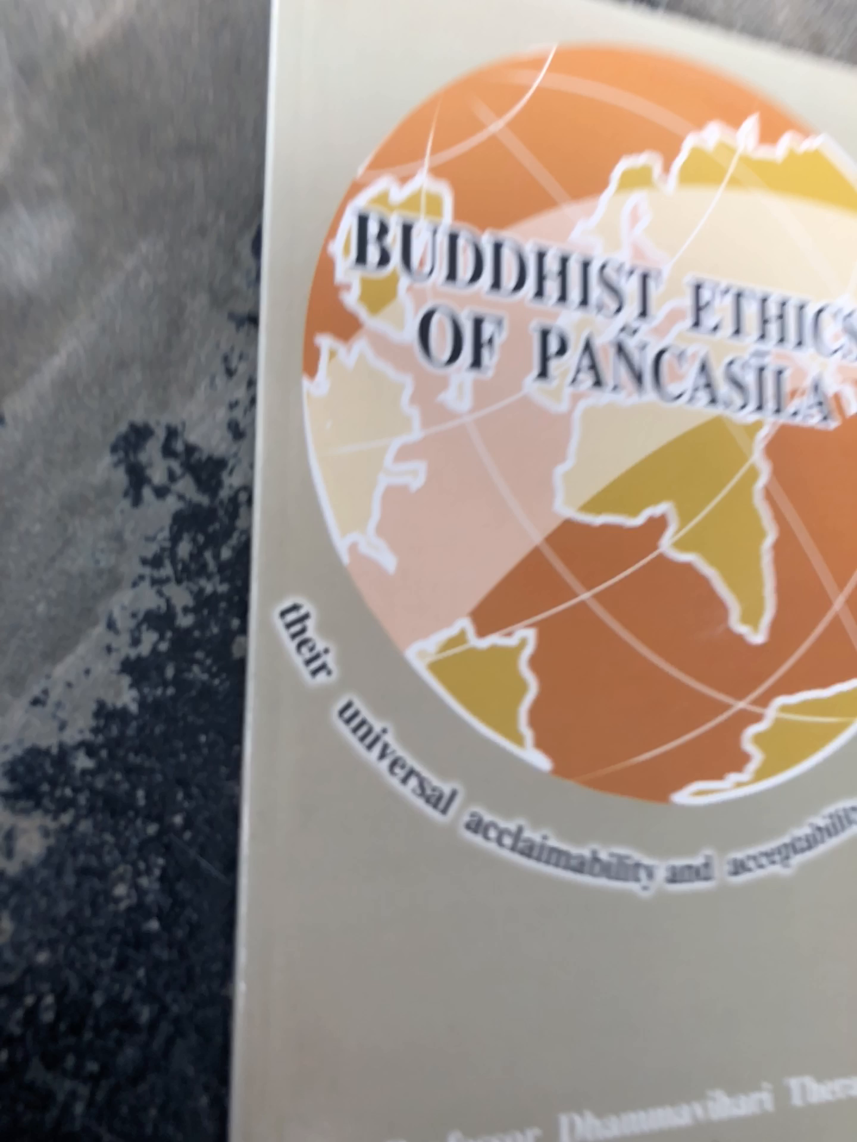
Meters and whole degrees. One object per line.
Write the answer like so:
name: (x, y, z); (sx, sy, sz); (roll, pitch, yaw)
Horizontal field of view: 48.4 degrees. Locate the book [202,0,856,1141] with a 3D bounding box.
book: (0.036, -0.003, 0.163); (0.140, 0.010, 0.220); (2, 82, -22)
